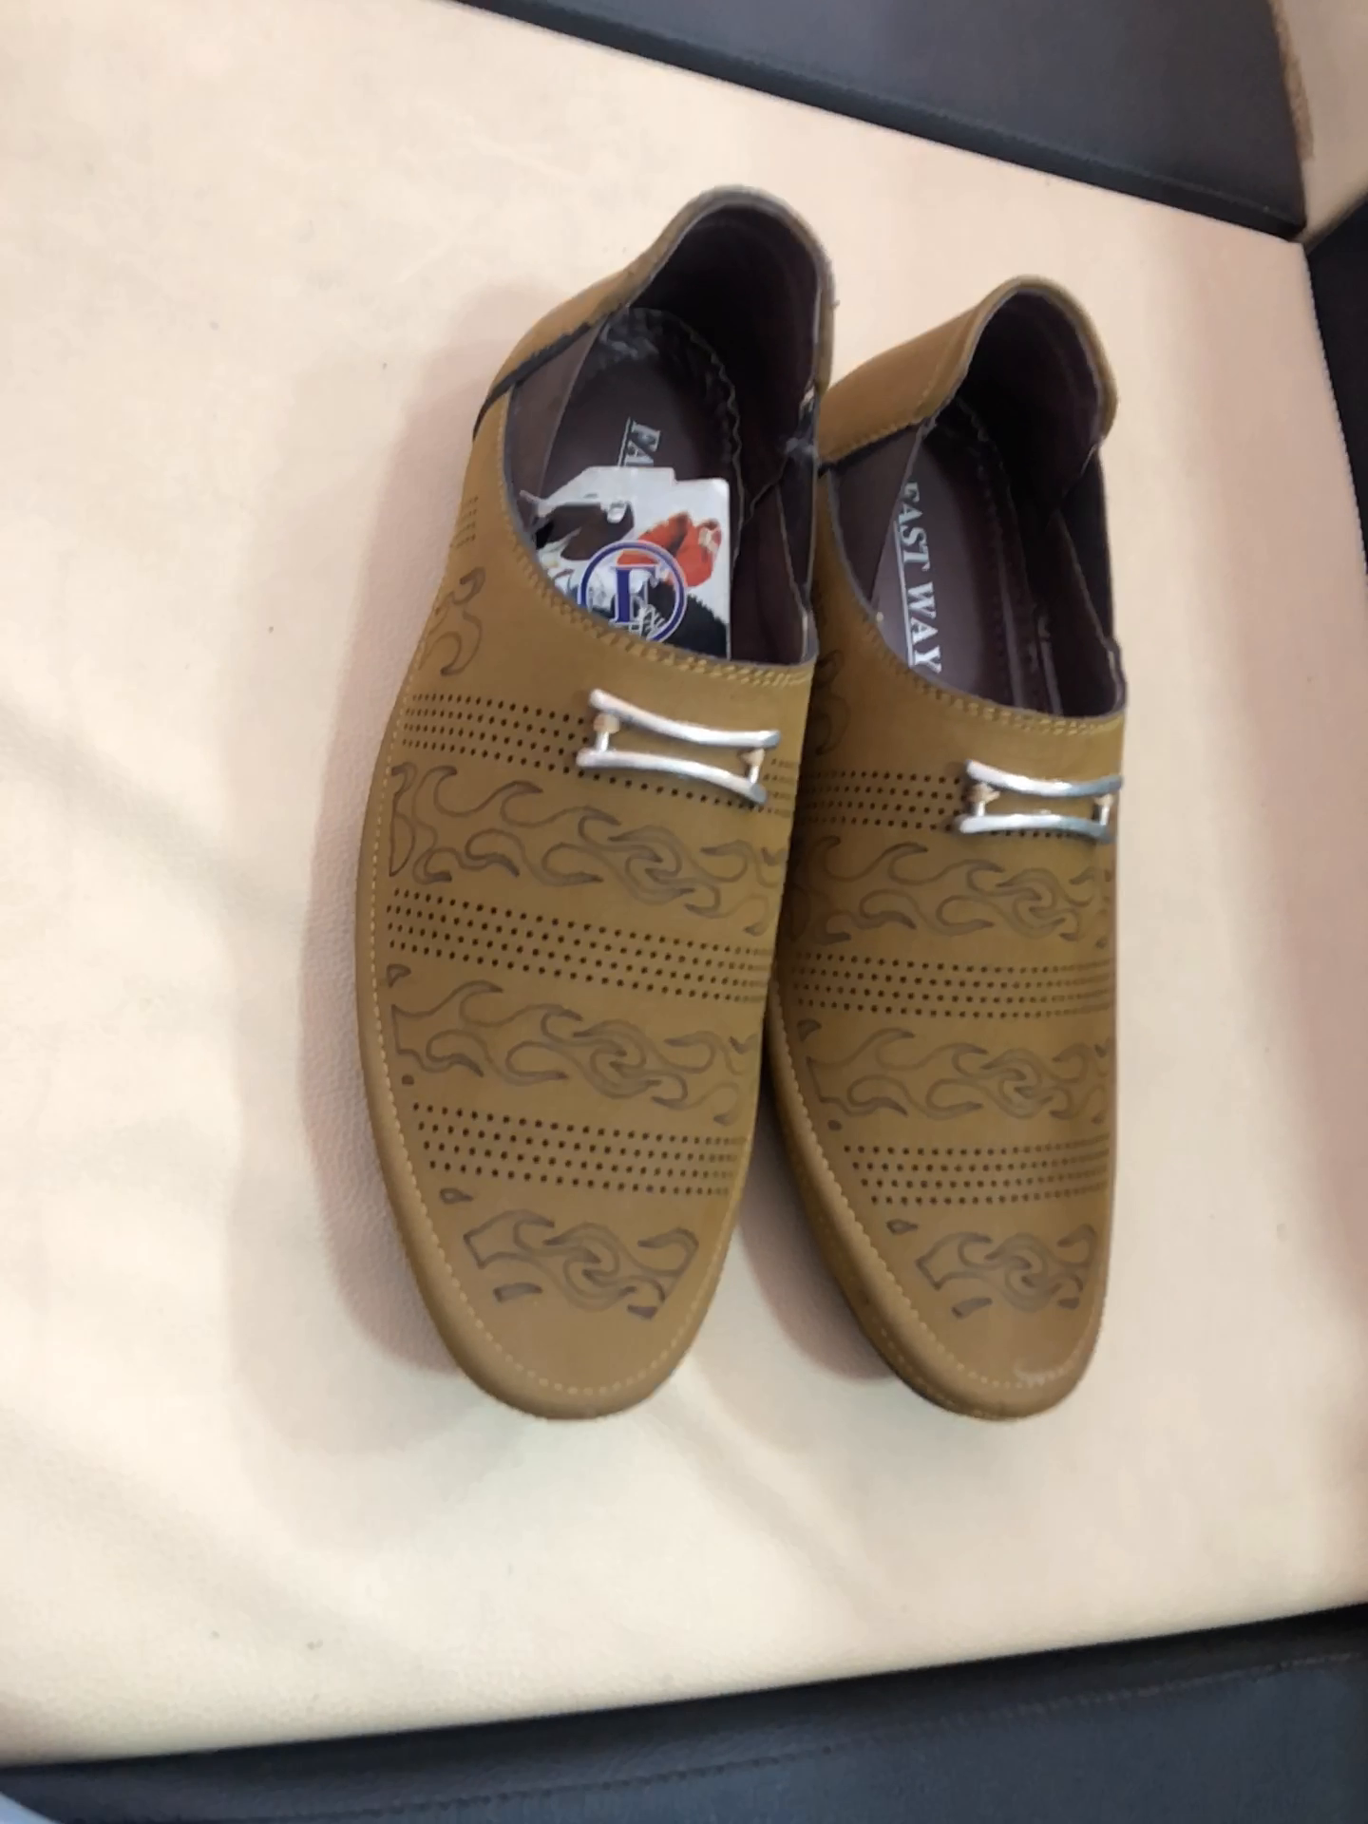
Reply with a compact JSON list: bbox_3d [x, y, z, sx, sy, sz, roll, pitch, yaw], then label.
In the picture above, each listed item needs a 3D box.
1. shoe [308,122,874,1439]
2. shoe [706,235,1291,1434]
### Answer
[{"bbox_3d":[-0.022,-0.025,0.360,0.100,0.100,0.280,6,73,-16],"label":"shoe"},{"bbox_3d":[0.072,-0.015,0.394,0.100,0.100,0.280,6,73,-16],"label":"shoe"}]
